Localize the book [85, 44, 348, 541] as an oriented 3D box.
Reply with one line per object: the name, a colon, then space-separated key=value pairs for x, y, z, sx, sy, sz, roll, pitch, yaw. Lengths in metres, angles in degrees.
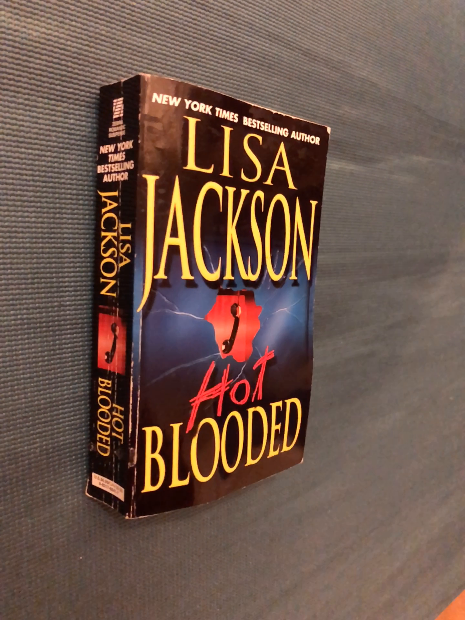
book: x=-0.005 y=-0.005 z=0.225 sx=0.104 sy=0.040 sz=0.171 roll=-2 pitch=97 yaw=-39
